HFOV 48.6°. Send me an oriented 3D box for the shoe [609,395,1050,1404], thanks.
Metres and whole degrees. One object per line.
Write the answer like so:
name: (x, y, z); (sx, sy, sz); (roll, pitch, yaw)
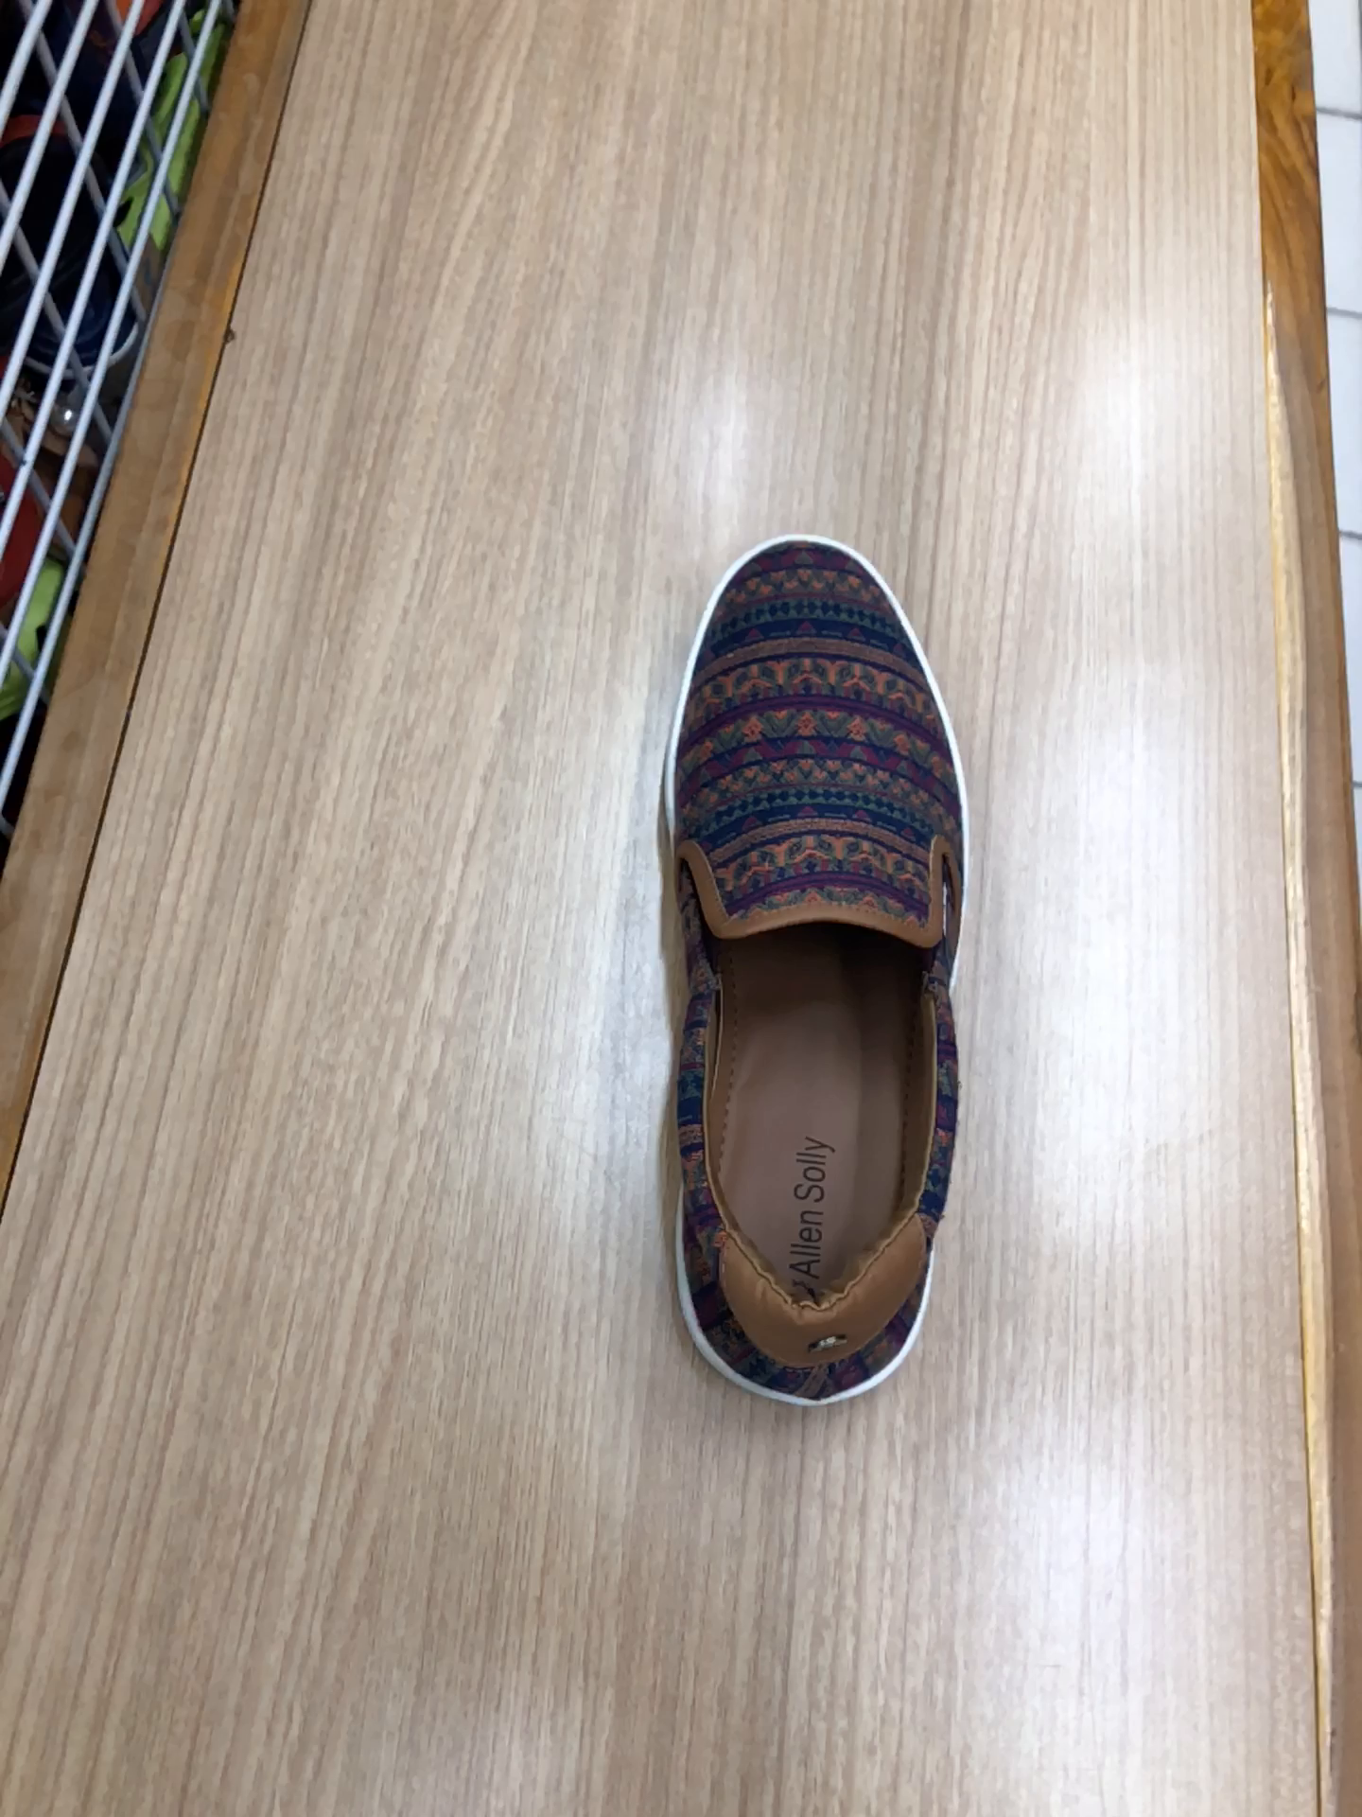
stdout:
shoe: (0.039, -0.002, 0.435); (0.100, 0.090, 0.271); (4, 71, -3)
